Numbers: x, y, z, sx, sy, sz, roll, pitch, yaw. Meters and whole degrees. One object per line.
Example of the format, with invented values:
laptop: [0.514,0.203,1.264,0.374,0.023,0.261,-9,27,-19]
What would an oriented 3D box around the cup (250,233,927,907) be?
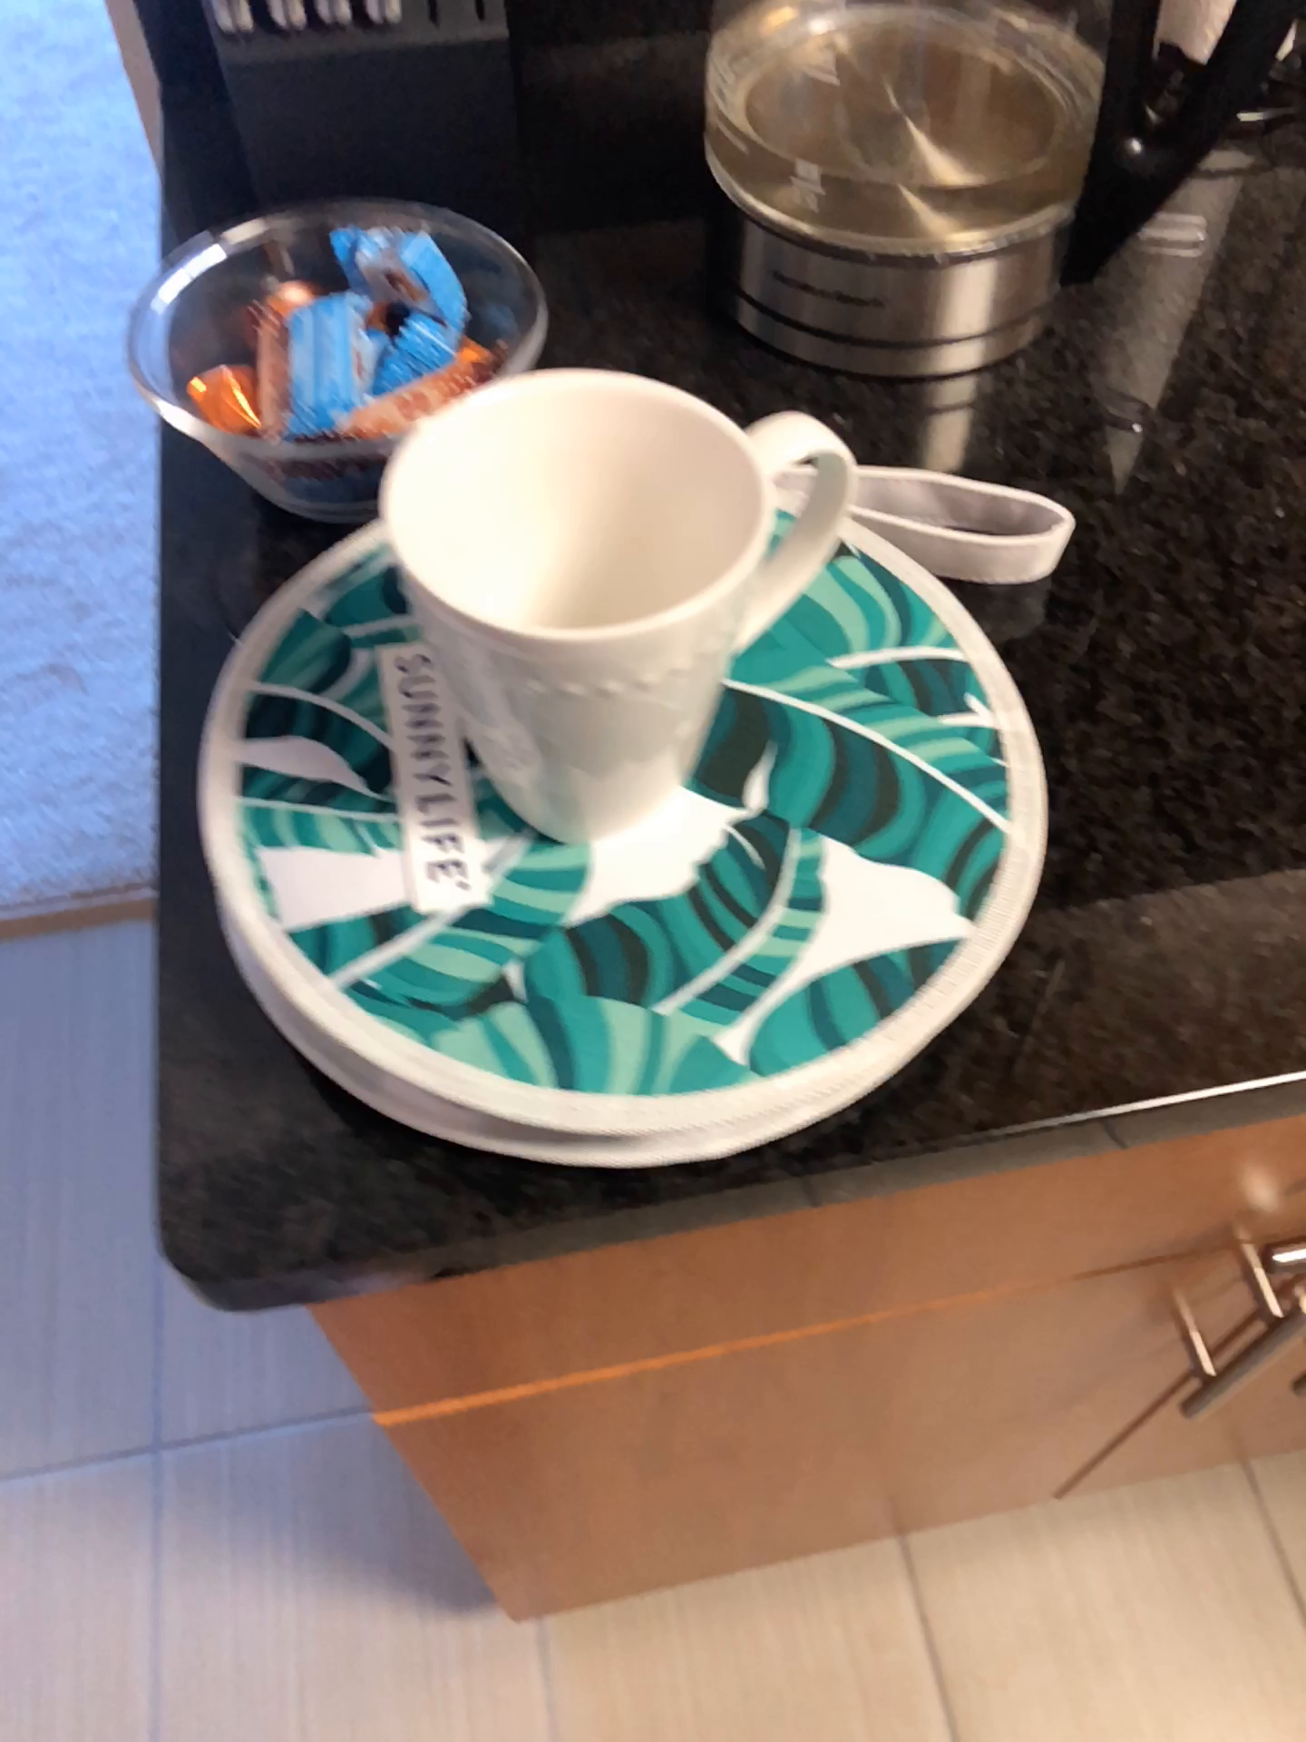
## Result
cup: [-0.014,-0.079,0.374,0.130,0.090,0.090,-35,62,-21]
